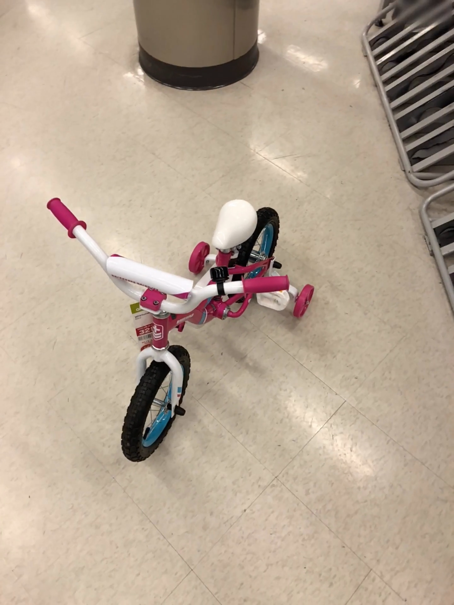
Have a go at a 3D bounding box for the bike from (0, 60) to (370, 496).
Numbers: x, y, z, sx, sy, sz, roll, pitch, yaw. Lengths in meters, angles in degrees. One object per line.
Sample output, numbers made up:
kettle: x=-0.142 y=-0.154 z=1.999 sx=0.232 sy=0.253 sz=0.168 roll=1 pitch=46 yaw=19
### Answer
bike: x=-0.075 y=-0.069 z=1.224 sx=0.461 sy=0.625 sz=0.817 roll=24 pitch=57 yaw=15
